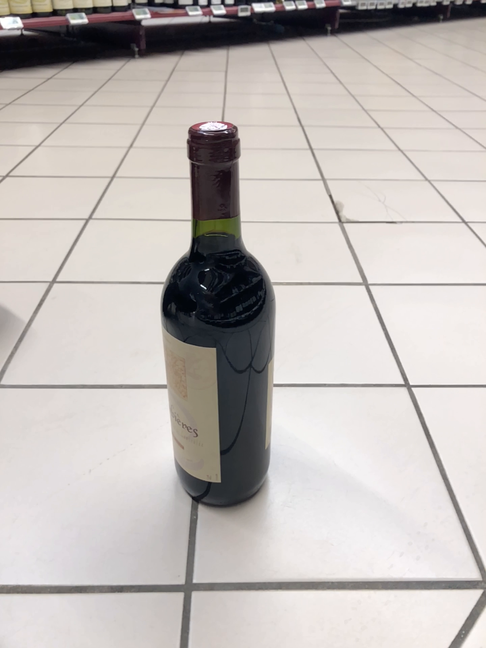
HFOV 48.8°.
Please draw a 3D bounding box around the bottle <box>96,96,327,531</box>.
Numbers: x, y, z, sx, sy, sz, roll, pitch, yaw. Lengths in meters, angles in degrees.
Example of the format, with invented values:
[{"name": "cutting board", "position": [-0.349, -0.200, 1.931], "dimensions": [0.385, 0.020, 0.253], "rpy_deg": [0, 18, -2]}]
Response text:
[{"name": "bottle", "position": [-0.022, 0.001, 0.336], "dimensions": [0.090, 0.249, 0.090], "rpy_deg": [1, 34, 0]}]
